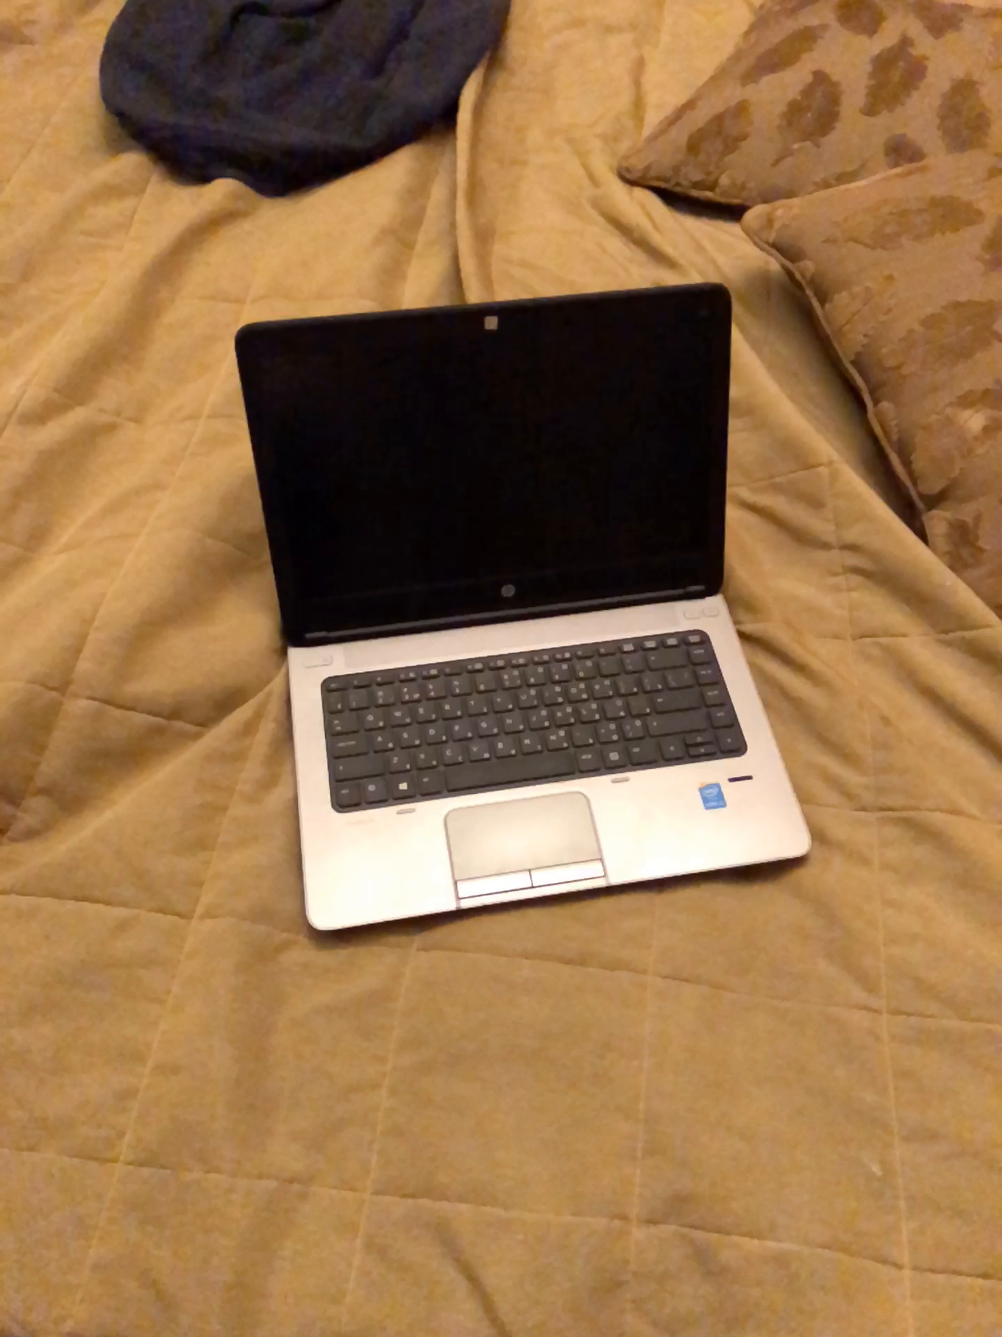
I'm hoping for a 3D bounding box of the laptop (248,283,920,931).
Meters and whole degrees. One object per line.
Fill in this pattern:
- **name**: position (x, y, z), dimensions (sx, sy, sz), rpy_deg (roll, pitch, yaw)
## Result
- **laptop**: position (0.022, -0.050, 0.726), dimensions (0.332, 0.189, 0.340), rpy_deg (-8, 57, -6)
